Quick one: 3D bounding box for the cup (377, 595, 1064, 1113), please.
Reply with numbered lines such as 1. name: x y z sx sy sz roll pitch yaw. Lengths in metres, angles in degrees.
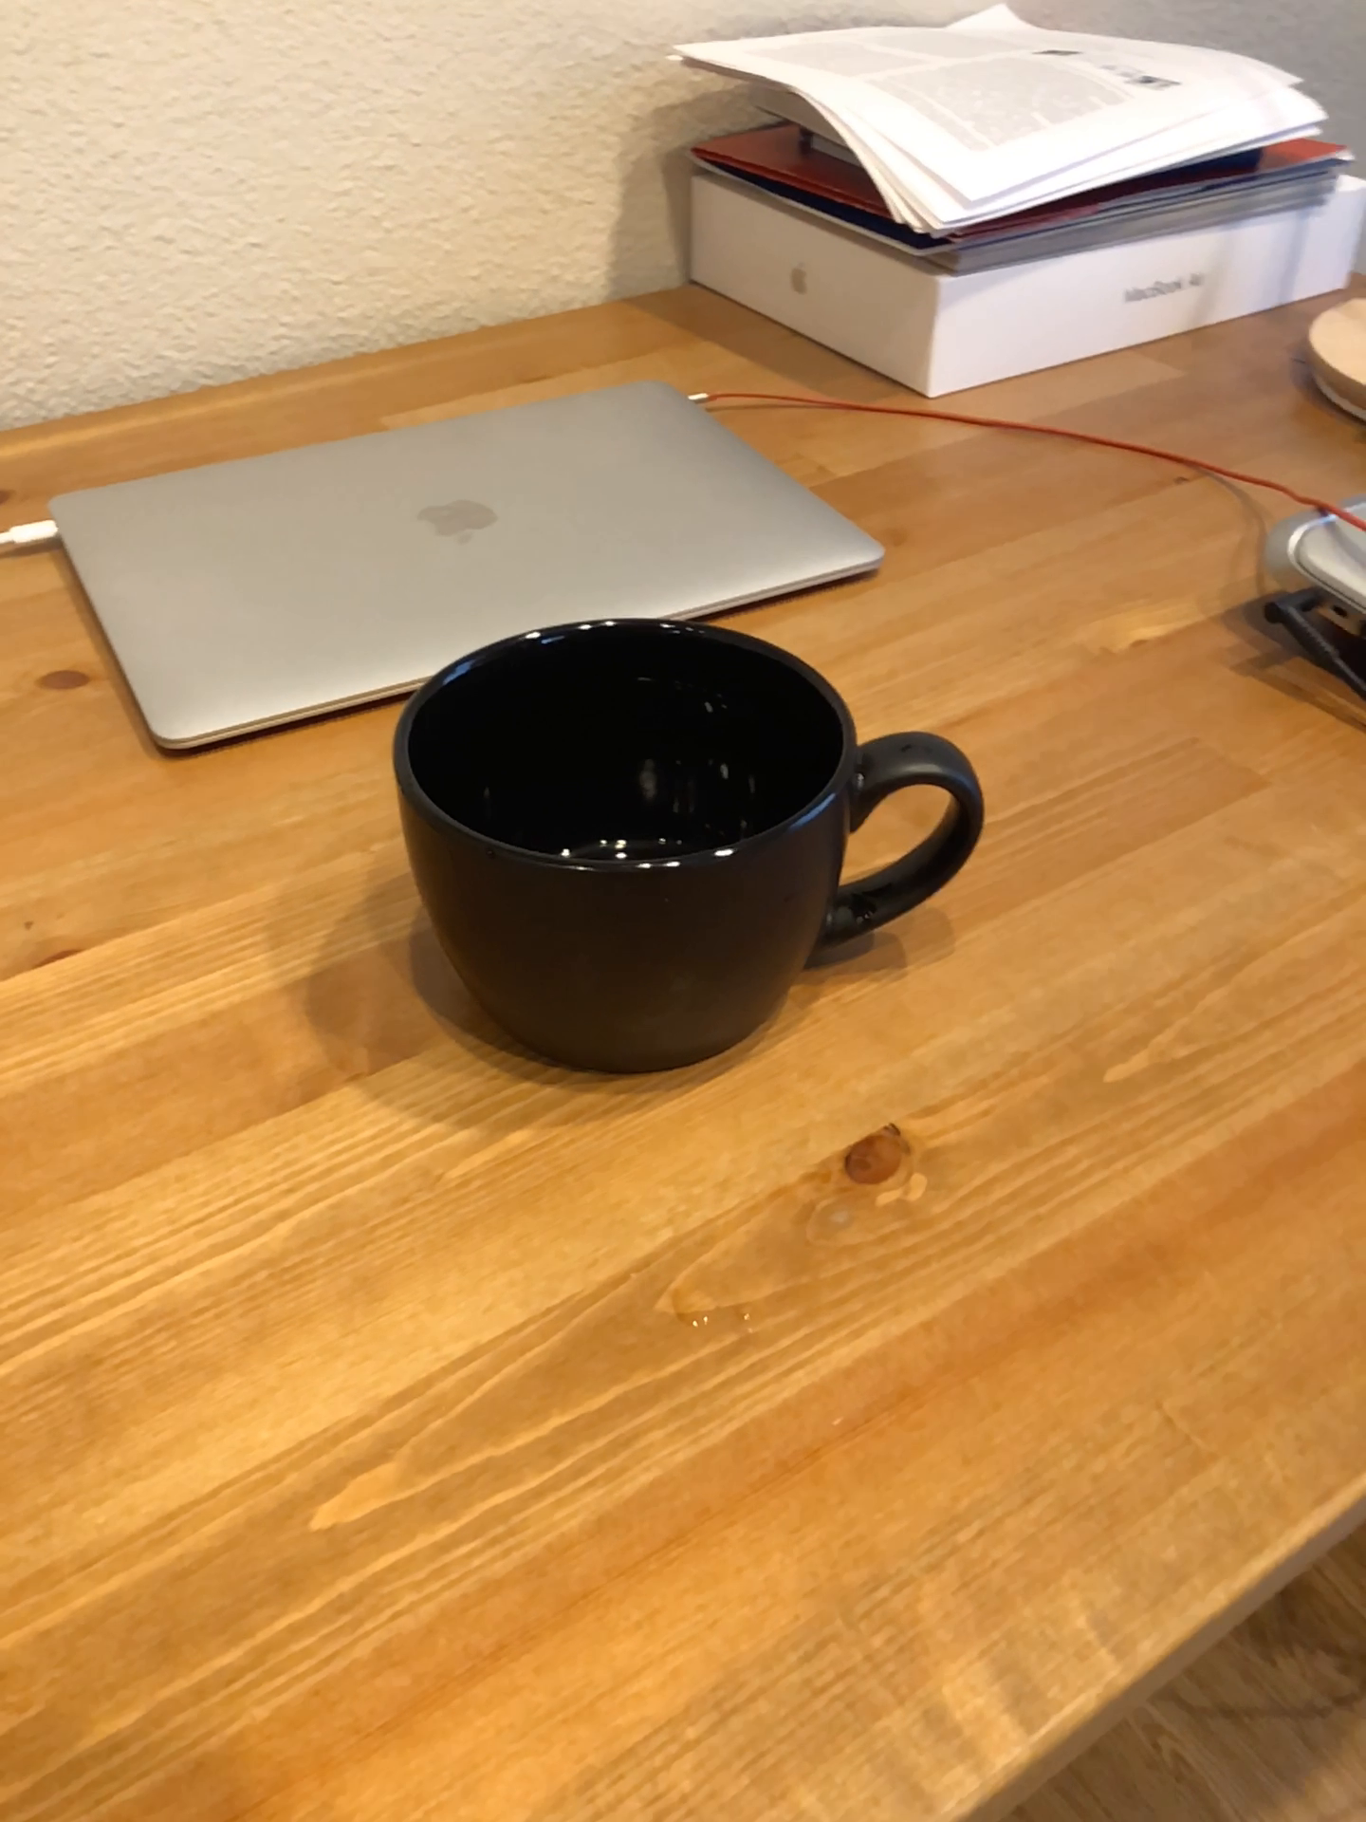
1. cup: 0.005 -0.020 0.424 0.160 0.080 0.121 -3 39 -3
